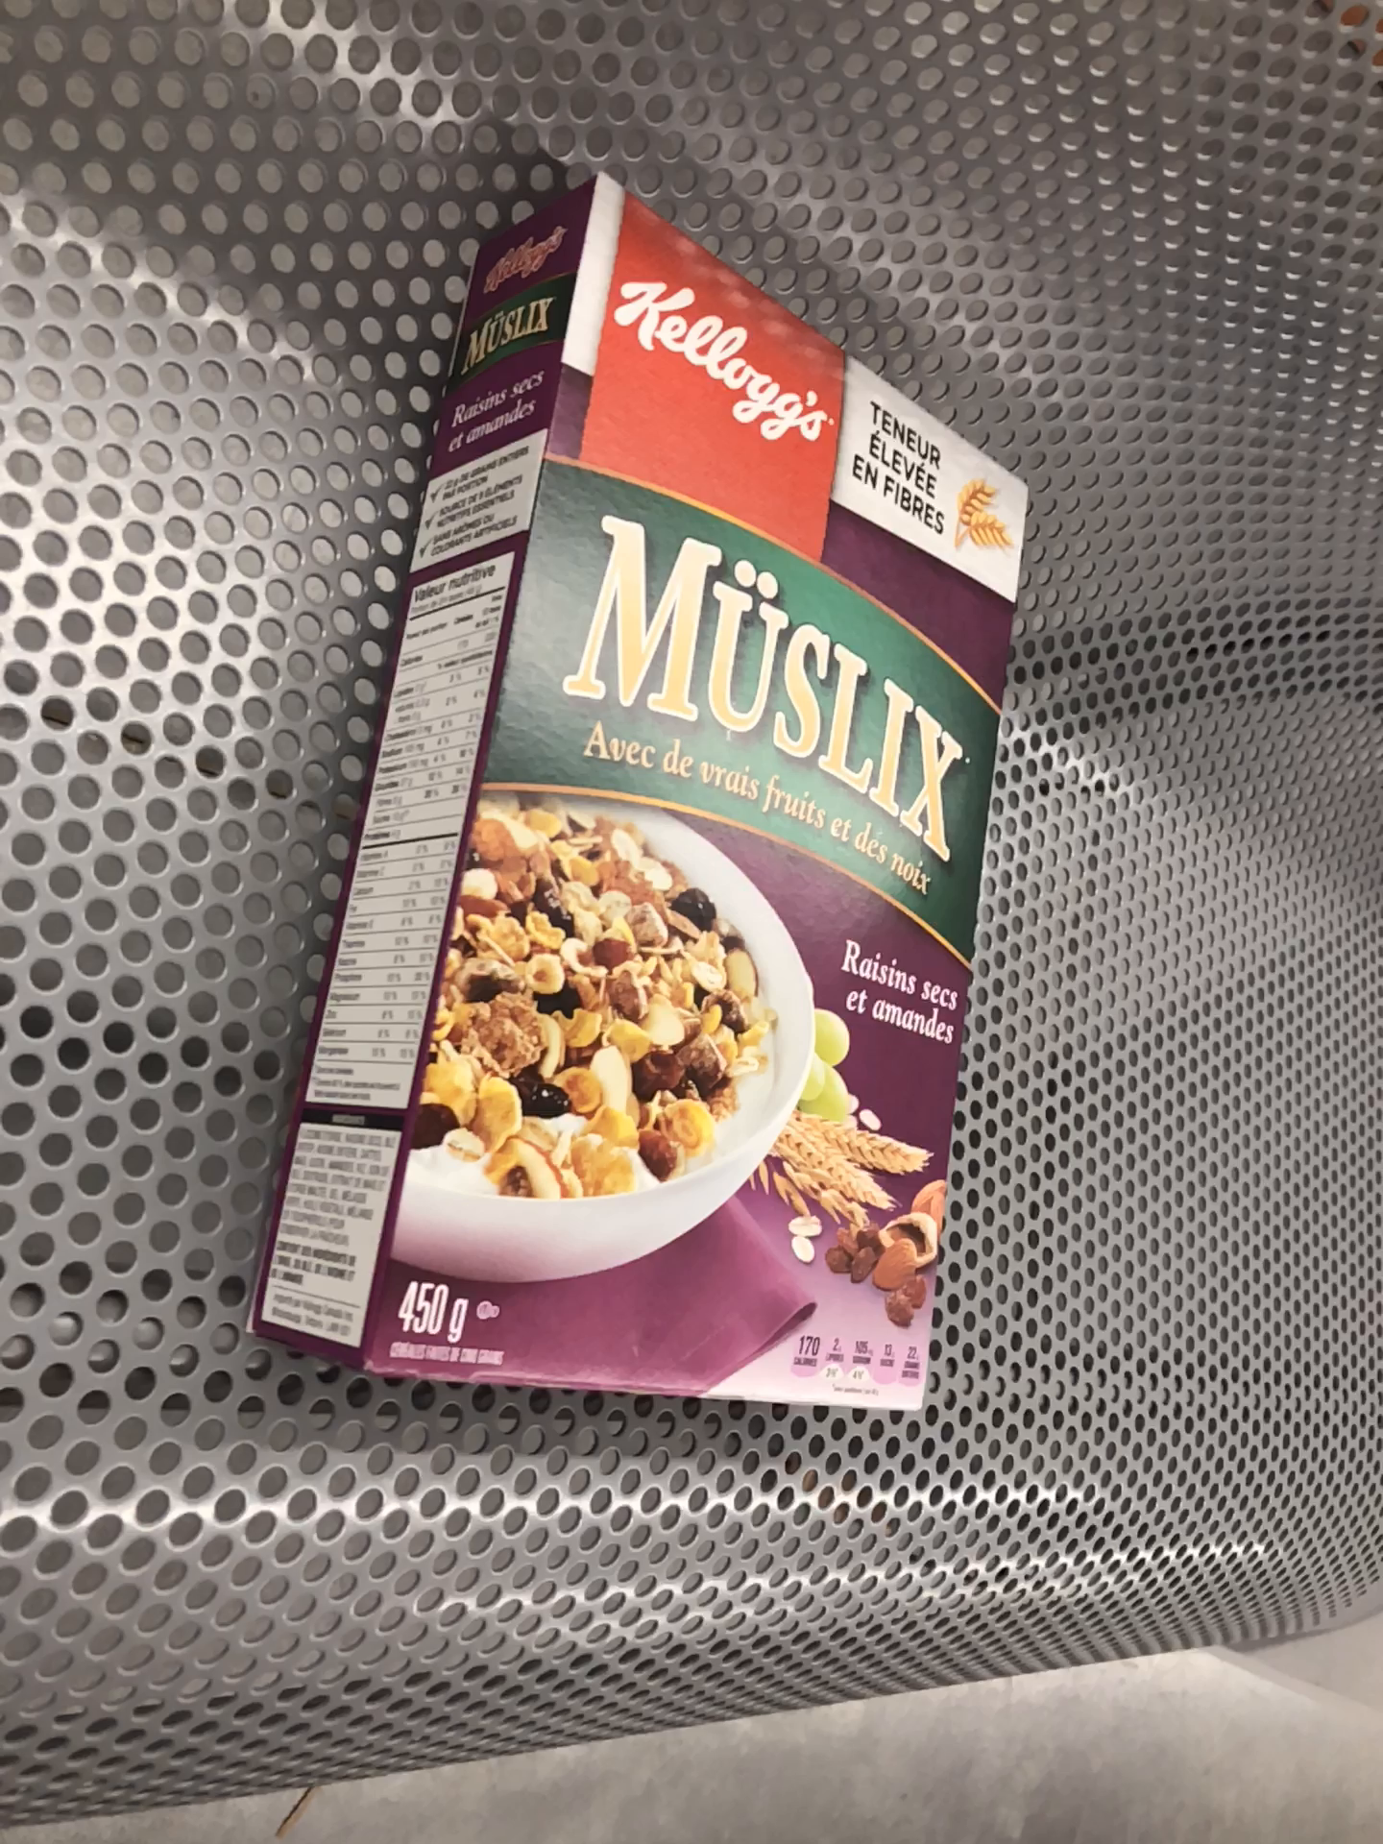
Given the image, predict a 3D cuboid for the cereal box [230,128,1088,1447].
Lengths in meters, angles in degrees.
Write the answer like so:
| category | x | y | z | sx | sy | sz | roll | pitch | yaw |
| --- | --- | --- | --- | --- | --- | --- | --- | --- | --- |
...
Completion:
| category | x | y | z | sx | sy | sz | roll | pitch | yaw |
| --- | --- | --- | --- | --- | --- | --- | --- | --- | --- |
| cereal box | 0.011 | -0.017 | 0.366 | 0.181 | 0.050 | 0.260 | 19 | 74 | -39 |
